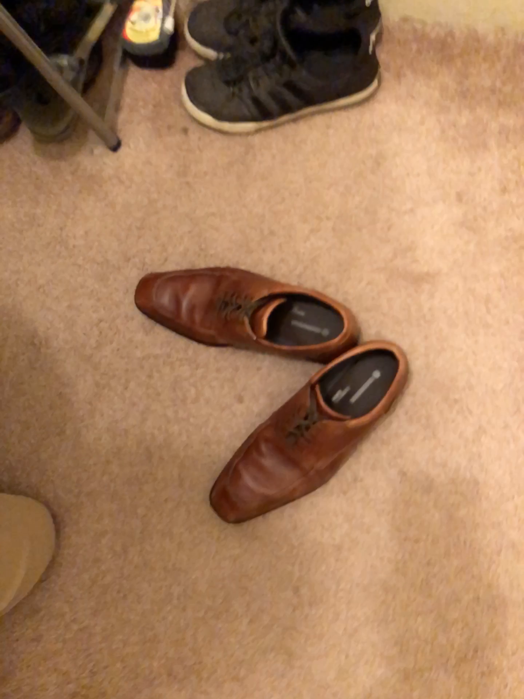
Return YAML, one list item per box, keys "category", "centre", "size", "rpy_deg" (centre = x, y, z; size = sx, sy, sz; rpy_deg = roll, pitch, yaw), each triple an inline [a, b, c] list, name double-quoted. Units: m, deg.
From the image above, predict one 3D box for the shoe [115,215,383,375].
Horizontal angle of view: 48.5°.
- category: "shoe"
  centre: [-0.011, -0.066, 0.746]
  size: [0.300, 0.120, 0.120]
  rpy_deg: [13, 83, 10]

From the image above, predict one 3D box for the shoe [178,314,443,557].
- category: "shoe"
  centre: [0.059, 0.102, 0.699]
  size: [0.300, 0.110, 0.100]
  rpy_deg: [-40, 78, 1]
